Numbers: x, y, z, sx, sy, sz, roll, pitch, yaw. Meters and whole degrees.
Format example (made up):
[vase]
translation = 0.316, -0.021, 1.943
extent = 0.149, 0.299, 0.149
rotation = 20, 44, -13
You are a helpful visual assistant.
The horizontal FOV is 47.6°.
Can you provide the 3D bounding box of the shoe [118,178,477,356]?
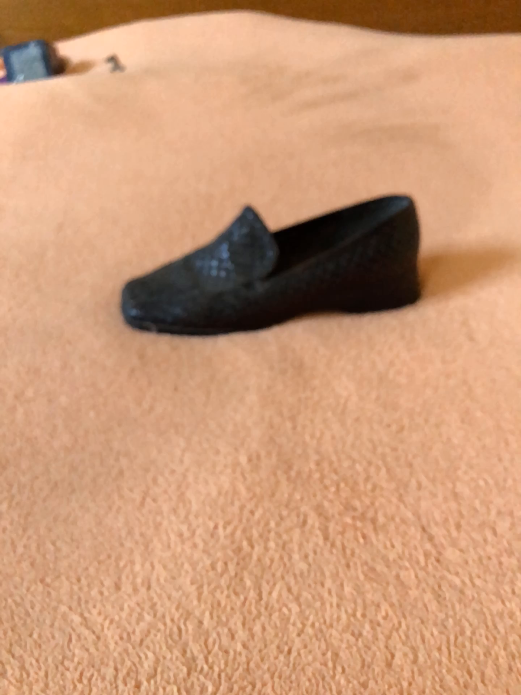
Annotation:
[shoe]
translation = 0.025, -0.074, 0.497
extent = 0.270, 0.089, 0.100
rotation = -7, 32, -9
